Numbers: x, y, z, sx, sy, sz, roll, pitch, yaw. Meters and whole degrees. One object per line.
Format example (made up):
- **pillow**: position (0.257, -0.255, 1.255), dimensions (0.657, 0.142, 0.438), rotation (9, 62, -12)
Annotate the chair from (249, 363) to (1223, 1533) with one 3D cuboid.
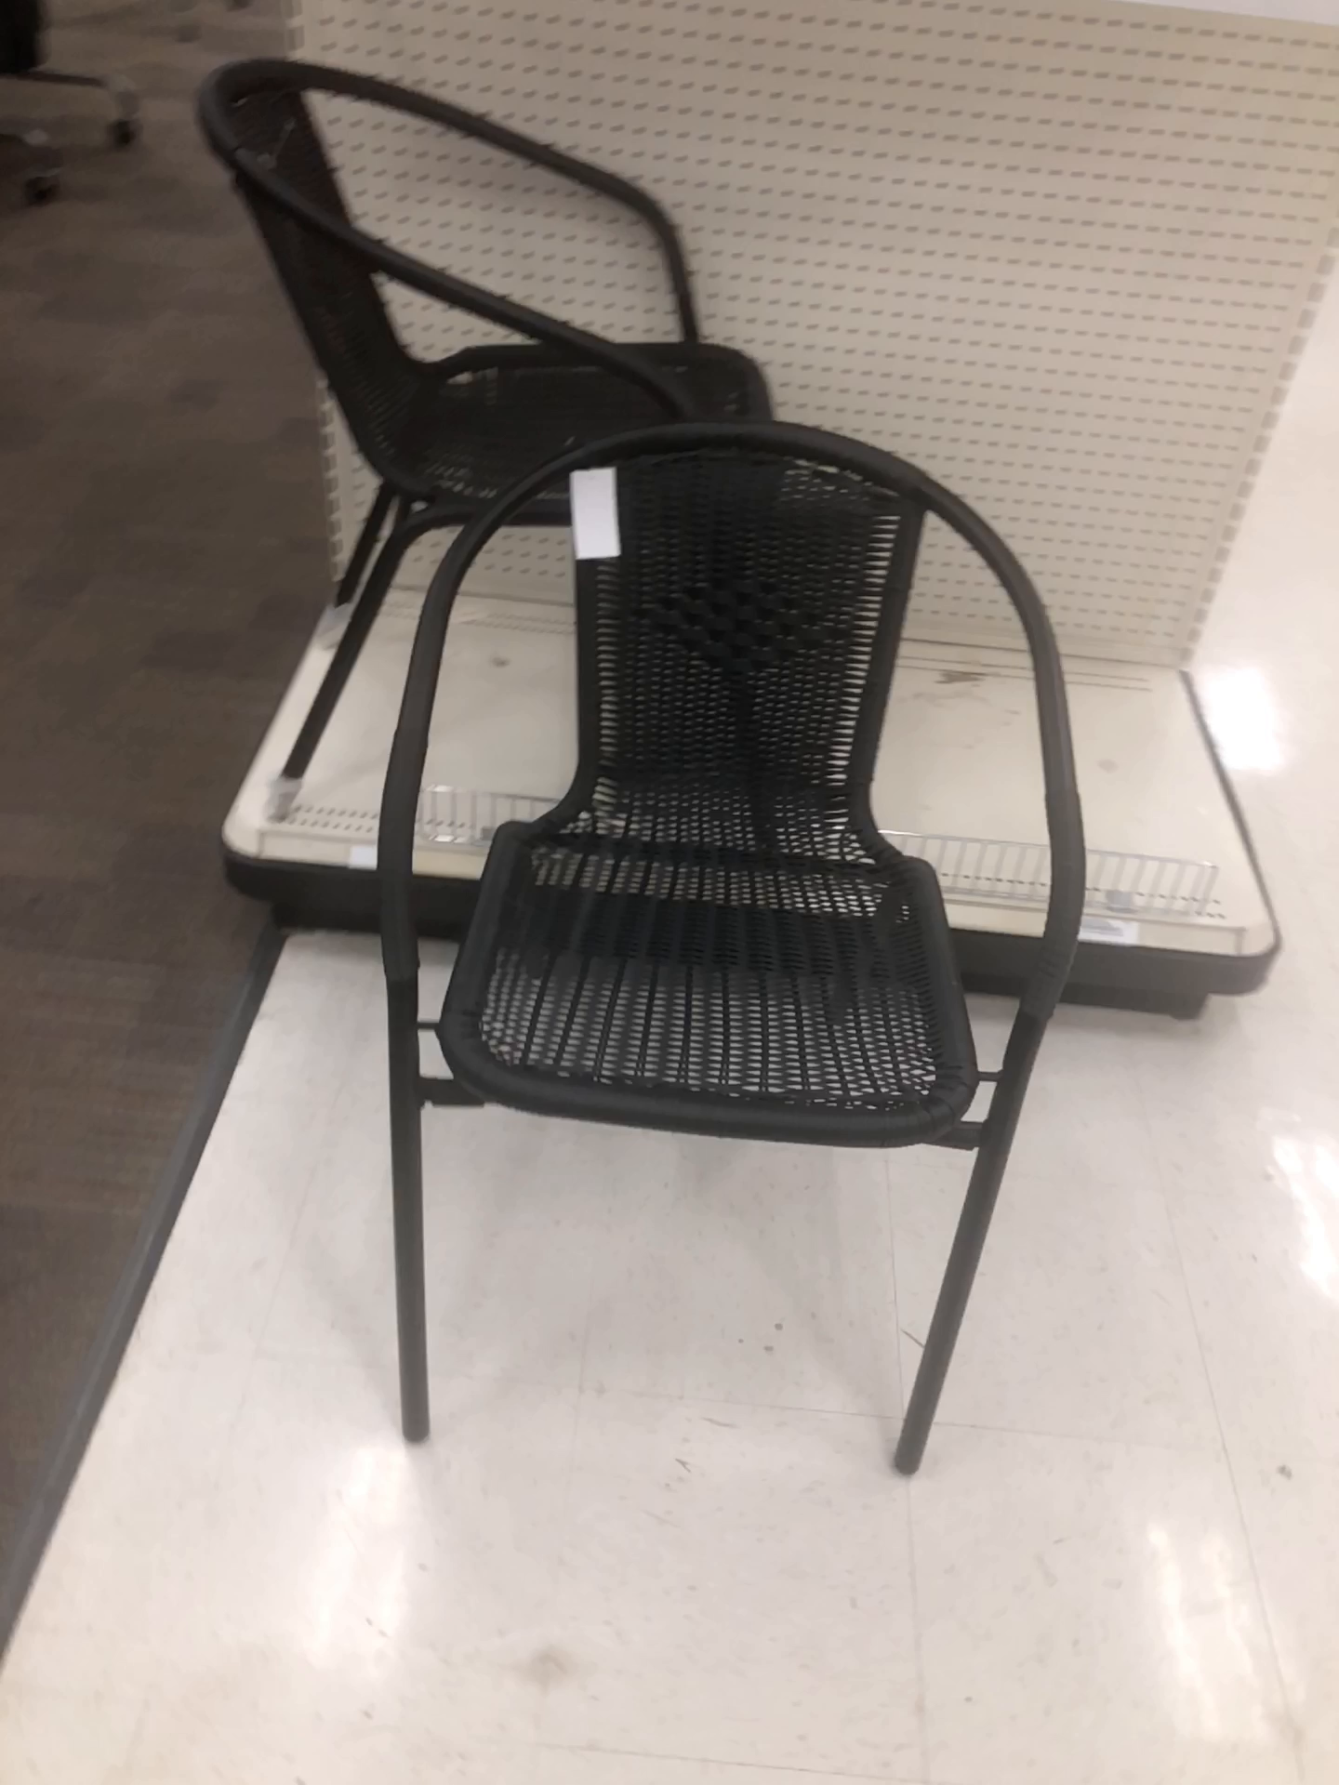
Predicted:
- **chair**: position (0.033, 0.035, 1.265), dimensions (0.530, 0.696, 0.643), rotation (7, 39, 1)
